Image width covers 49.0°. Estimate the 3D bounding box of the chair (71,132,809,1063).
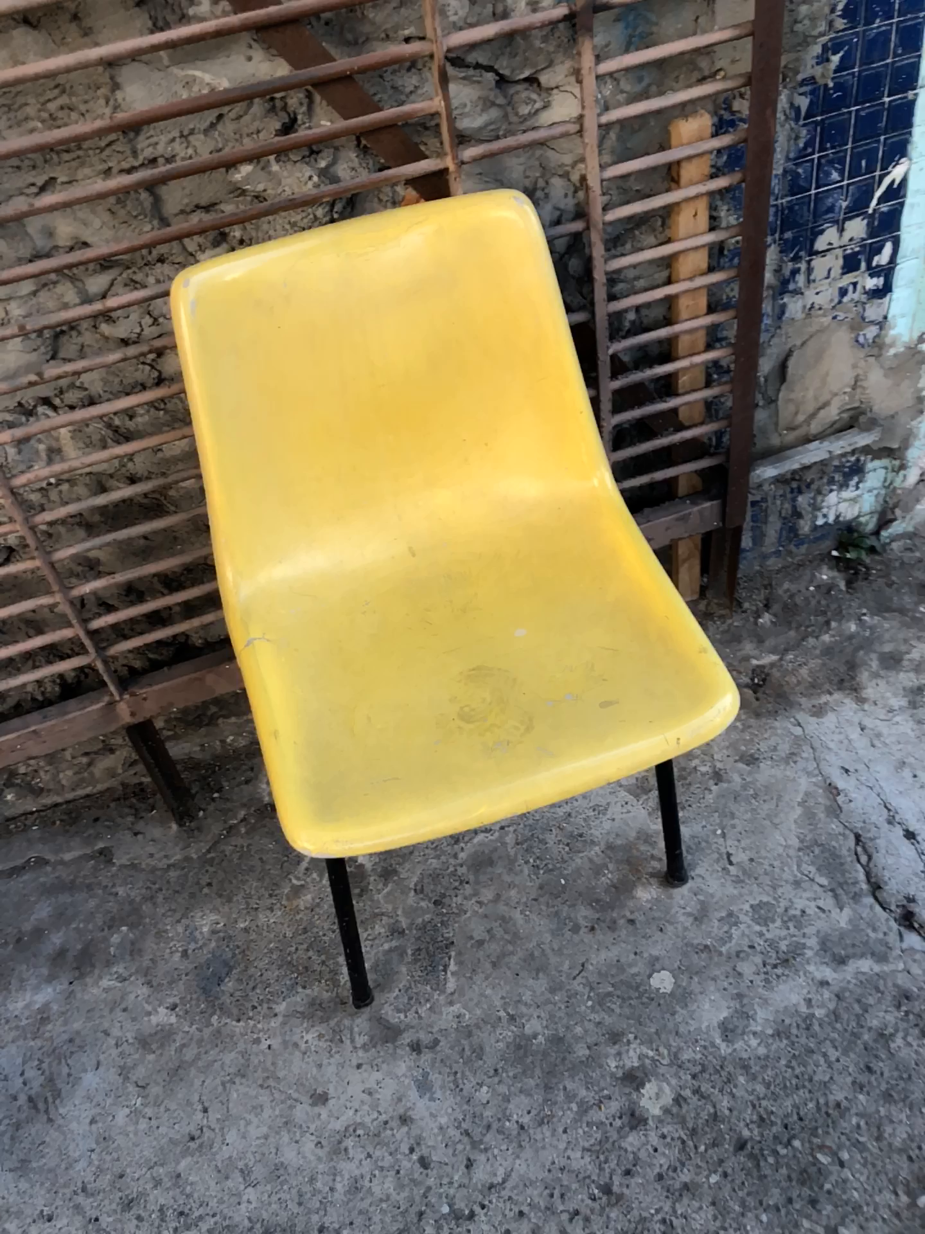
[{"bbox_3d":[-0.017,0.002,1.042,0.480,0.715,0.473,-17,43,-6],"label":"chair"}]
